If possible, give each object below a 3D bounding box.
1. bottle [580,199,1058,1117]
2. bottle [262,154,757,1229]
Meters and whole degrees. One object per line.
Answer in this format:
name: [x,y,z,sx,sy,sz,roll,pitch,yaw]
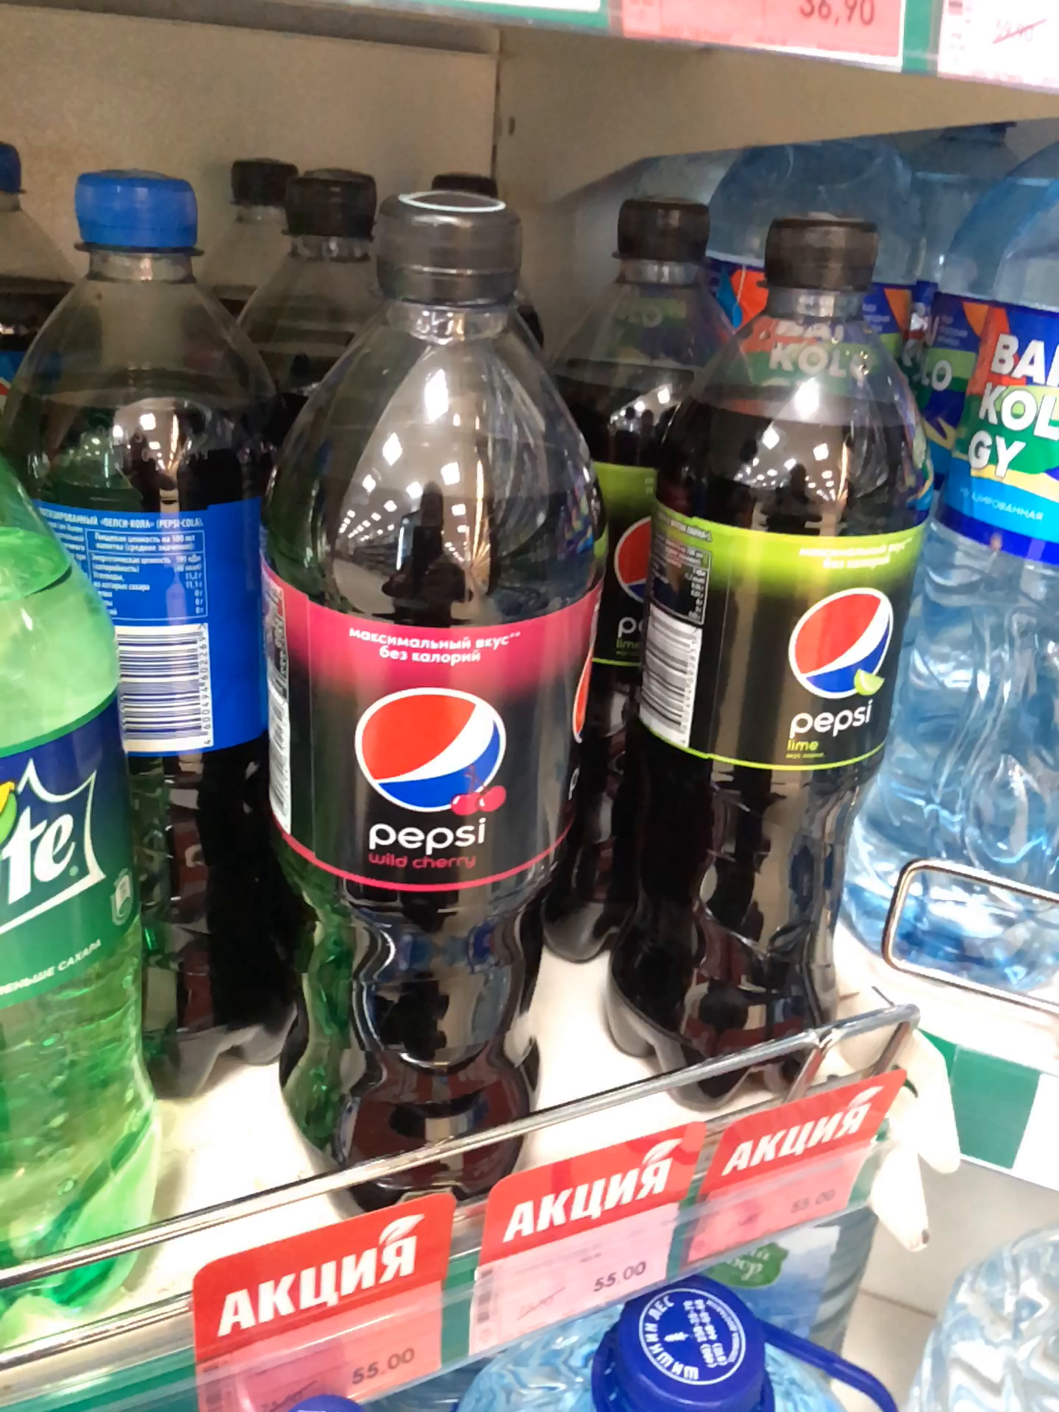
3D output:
bottle: [0.079,-0.007,0.359,0.086,0.263,0.077,-1,25,-13]
bottle: [-0.021,0.009,0.295,0.086,0.256,0.077,-1,30,-13]
